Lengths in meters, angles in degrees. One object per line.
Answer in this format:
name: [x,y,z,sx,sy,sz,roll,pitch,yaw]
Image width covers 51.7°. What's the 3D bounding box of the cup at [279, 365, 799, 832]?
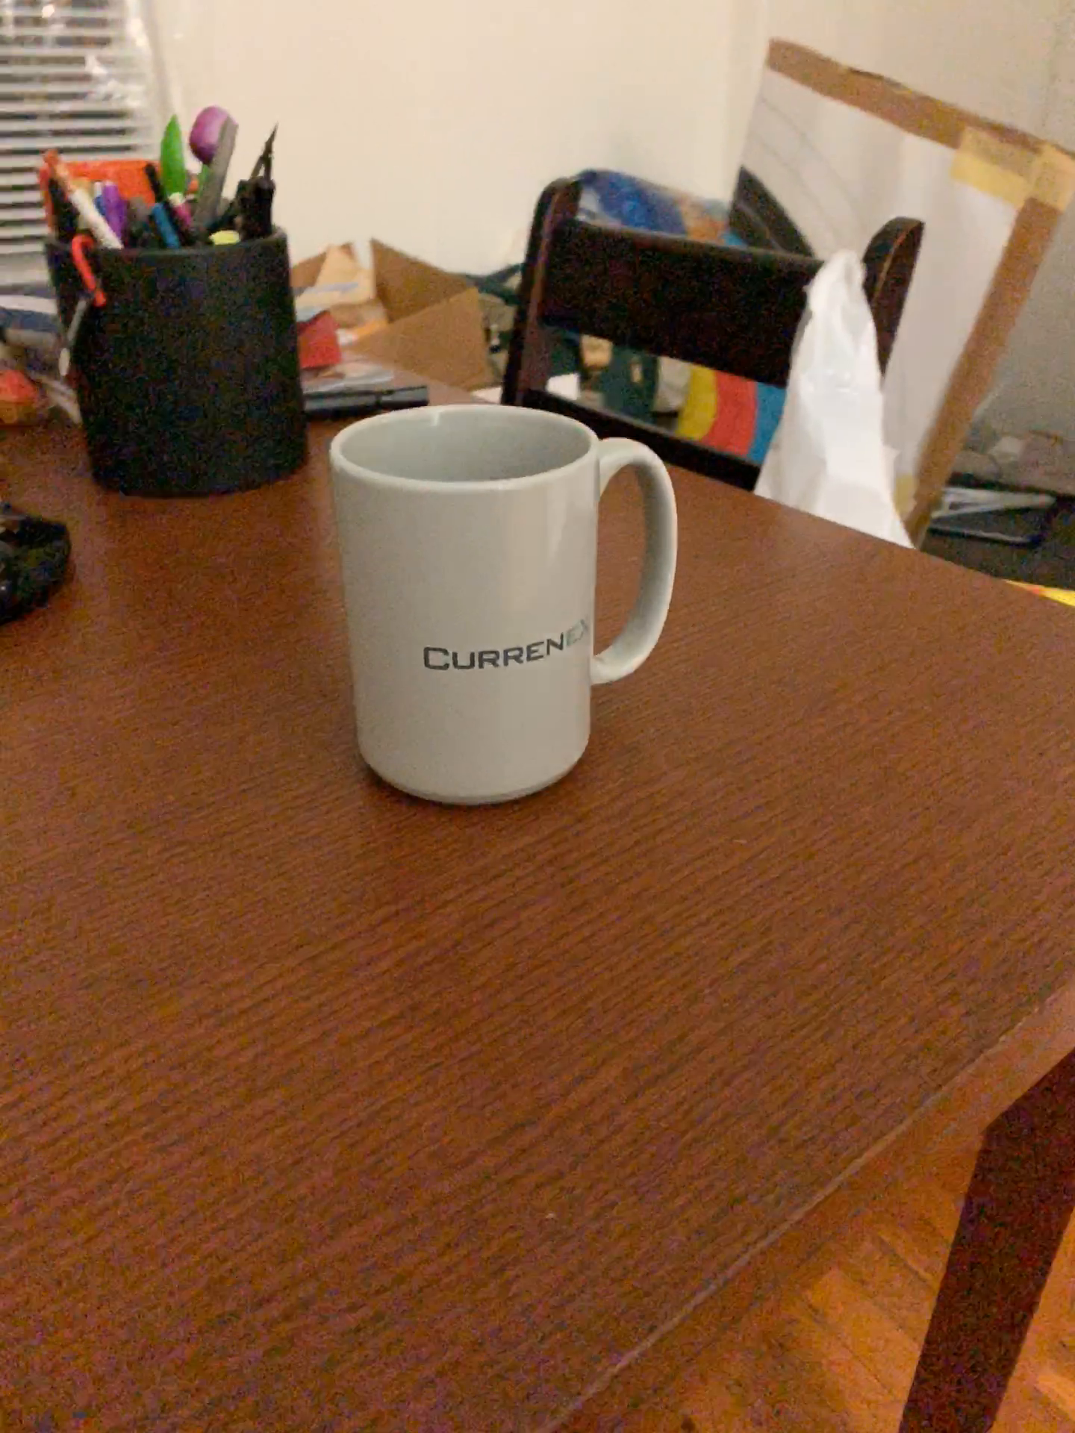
cup: [-0.002,-0.050,0.390,0.140,0.109,0.101,-15,33,-23]
